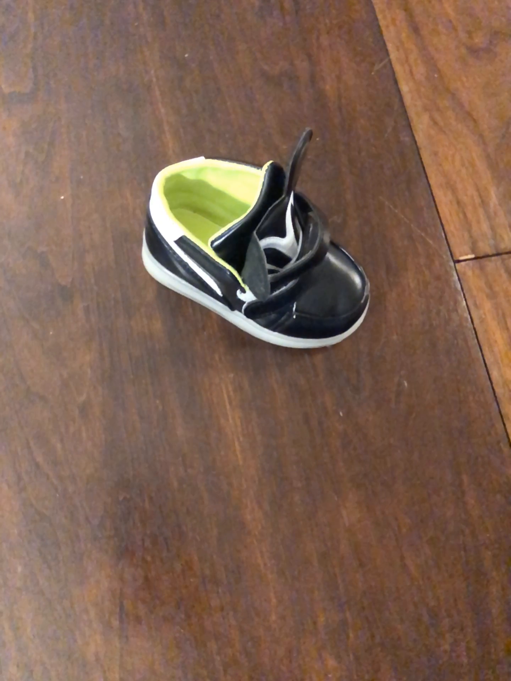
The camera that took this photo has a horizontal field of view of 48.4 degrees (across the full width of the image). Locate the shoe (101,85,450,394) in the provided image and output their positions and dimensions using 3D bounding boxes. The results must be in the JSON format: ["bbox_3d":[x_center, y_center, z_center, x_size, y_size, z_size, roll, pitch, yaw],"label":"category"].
[{"bbox_3d":[0.007,-0.047,0.324,0.150,0.100,0.090,23,73,-2],"label":"shoe"}]
